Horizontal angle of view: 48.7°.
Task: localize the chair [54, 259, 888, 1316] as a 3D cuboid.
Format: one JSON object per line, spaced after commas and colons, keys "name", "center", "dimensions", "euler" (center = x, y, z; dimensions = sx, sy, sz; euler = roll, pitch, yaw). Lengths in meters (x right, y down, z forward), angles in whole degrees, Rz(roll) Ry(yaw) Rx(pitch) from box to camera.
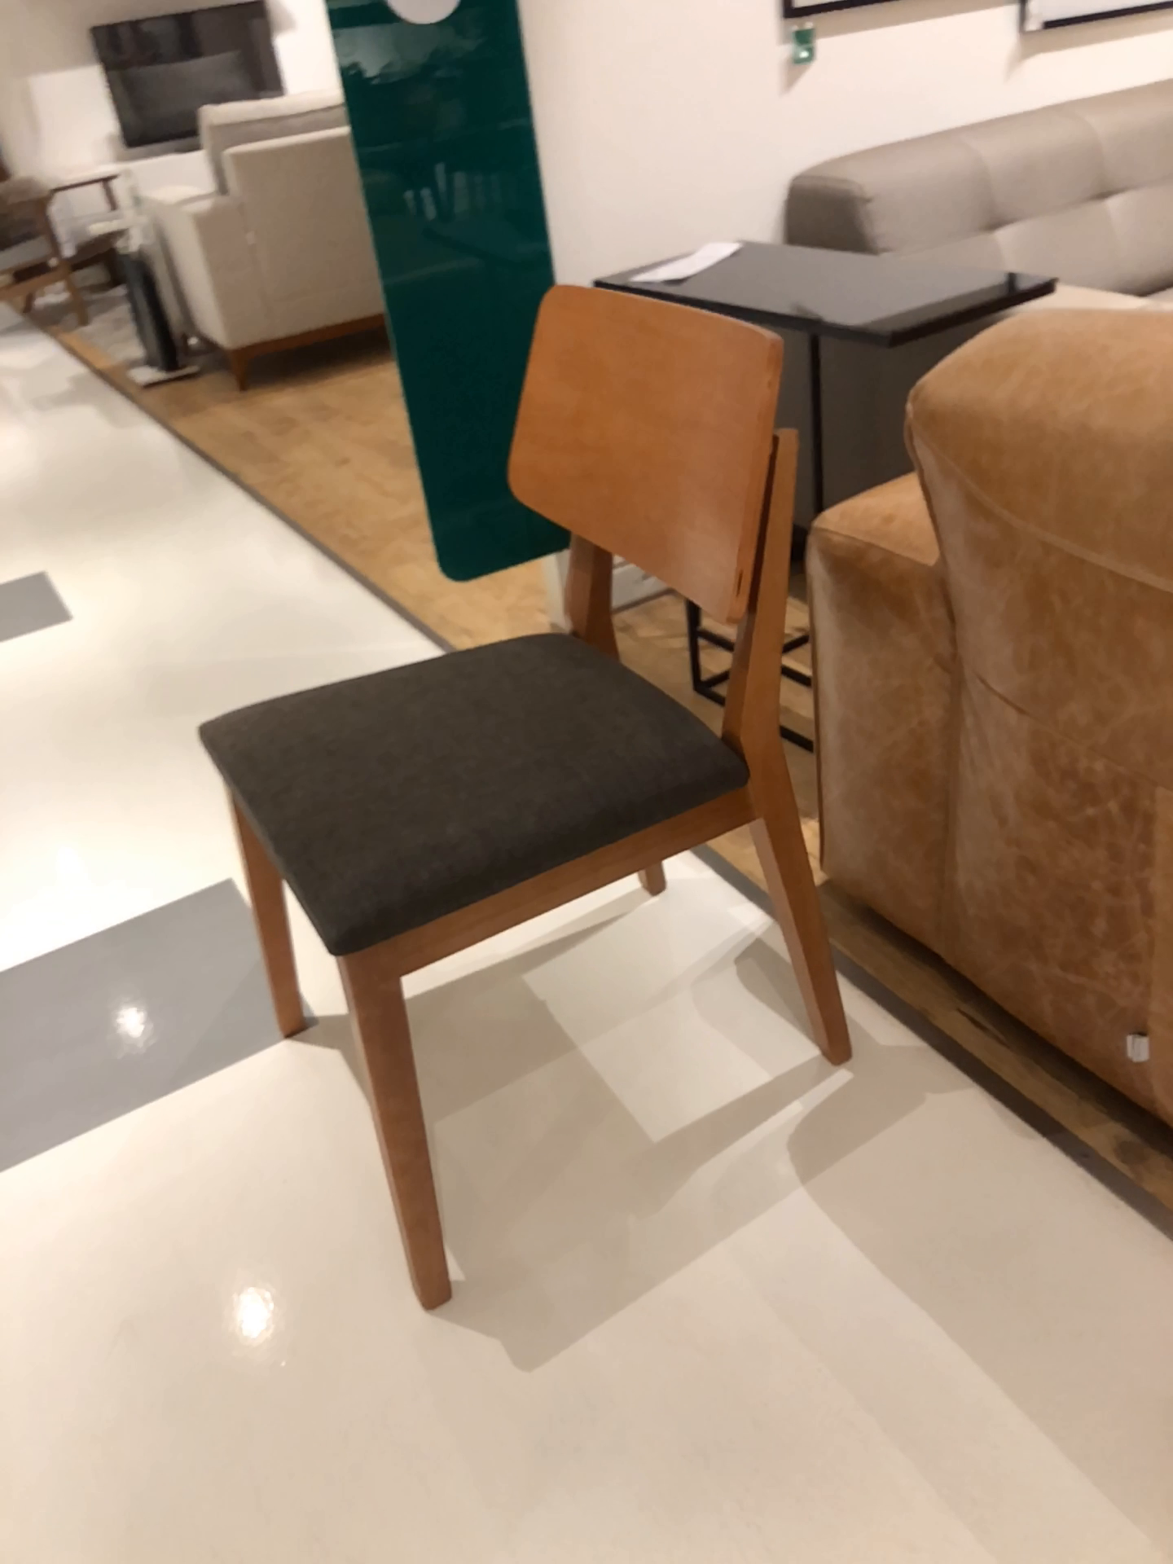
{"name": "chair", "center": [-0.080, -0.029, 1.308], "dimensions": [0.561, 0.794, 0.483], "euler": [-22, 33, -21]}
